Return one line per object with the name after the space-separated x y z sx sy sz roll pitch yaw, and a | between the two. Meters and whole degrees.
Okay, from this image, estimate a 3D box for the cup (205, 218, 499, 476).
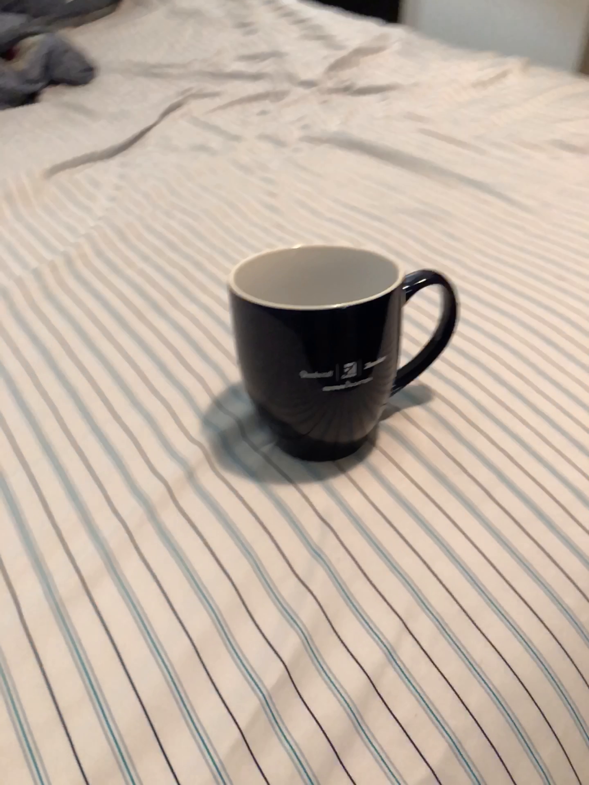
0.028 -0.031 0.371 0.130 0.090 0.090 -13 35 -14 | cup
